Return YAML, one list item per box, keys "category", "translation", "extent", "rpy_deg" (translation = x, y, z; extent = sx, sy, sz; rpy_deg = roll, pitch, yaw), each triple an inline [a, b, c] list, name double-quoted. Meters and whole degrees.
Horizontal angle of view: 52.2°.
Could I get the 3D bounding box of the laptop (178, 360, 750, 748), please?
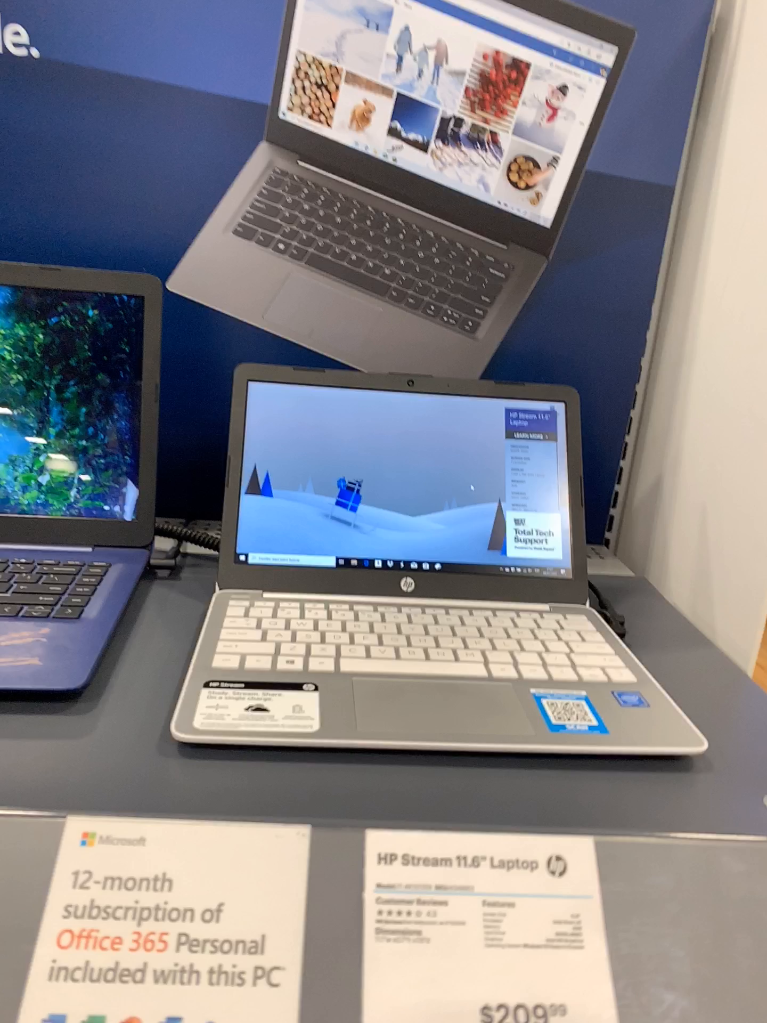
- category: "laptop"
  translation: [0.024, 0.005, 0.508]
  extent: [0.266, 0.145, 0.275]
  rpy_deg: [4, 17, -8]
